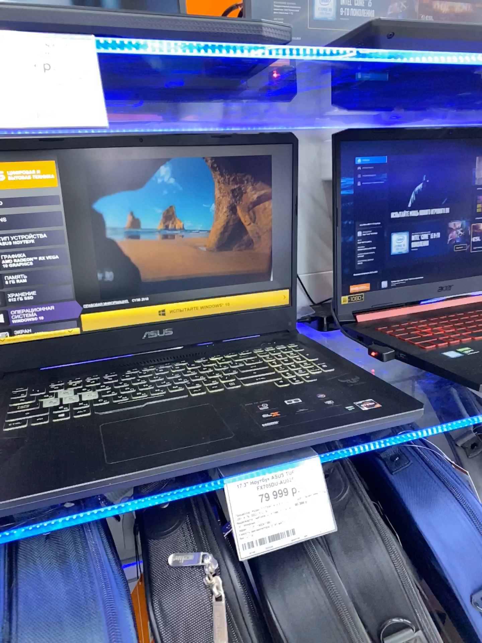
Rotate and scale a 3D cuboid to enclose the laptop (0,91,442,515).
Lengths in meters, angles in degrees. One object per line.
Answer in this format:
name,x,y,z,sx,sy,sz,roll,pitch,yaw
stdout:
laptop,-0.068,-0.053,0.486,0.397,0.265,0.270,-8,16,-18
